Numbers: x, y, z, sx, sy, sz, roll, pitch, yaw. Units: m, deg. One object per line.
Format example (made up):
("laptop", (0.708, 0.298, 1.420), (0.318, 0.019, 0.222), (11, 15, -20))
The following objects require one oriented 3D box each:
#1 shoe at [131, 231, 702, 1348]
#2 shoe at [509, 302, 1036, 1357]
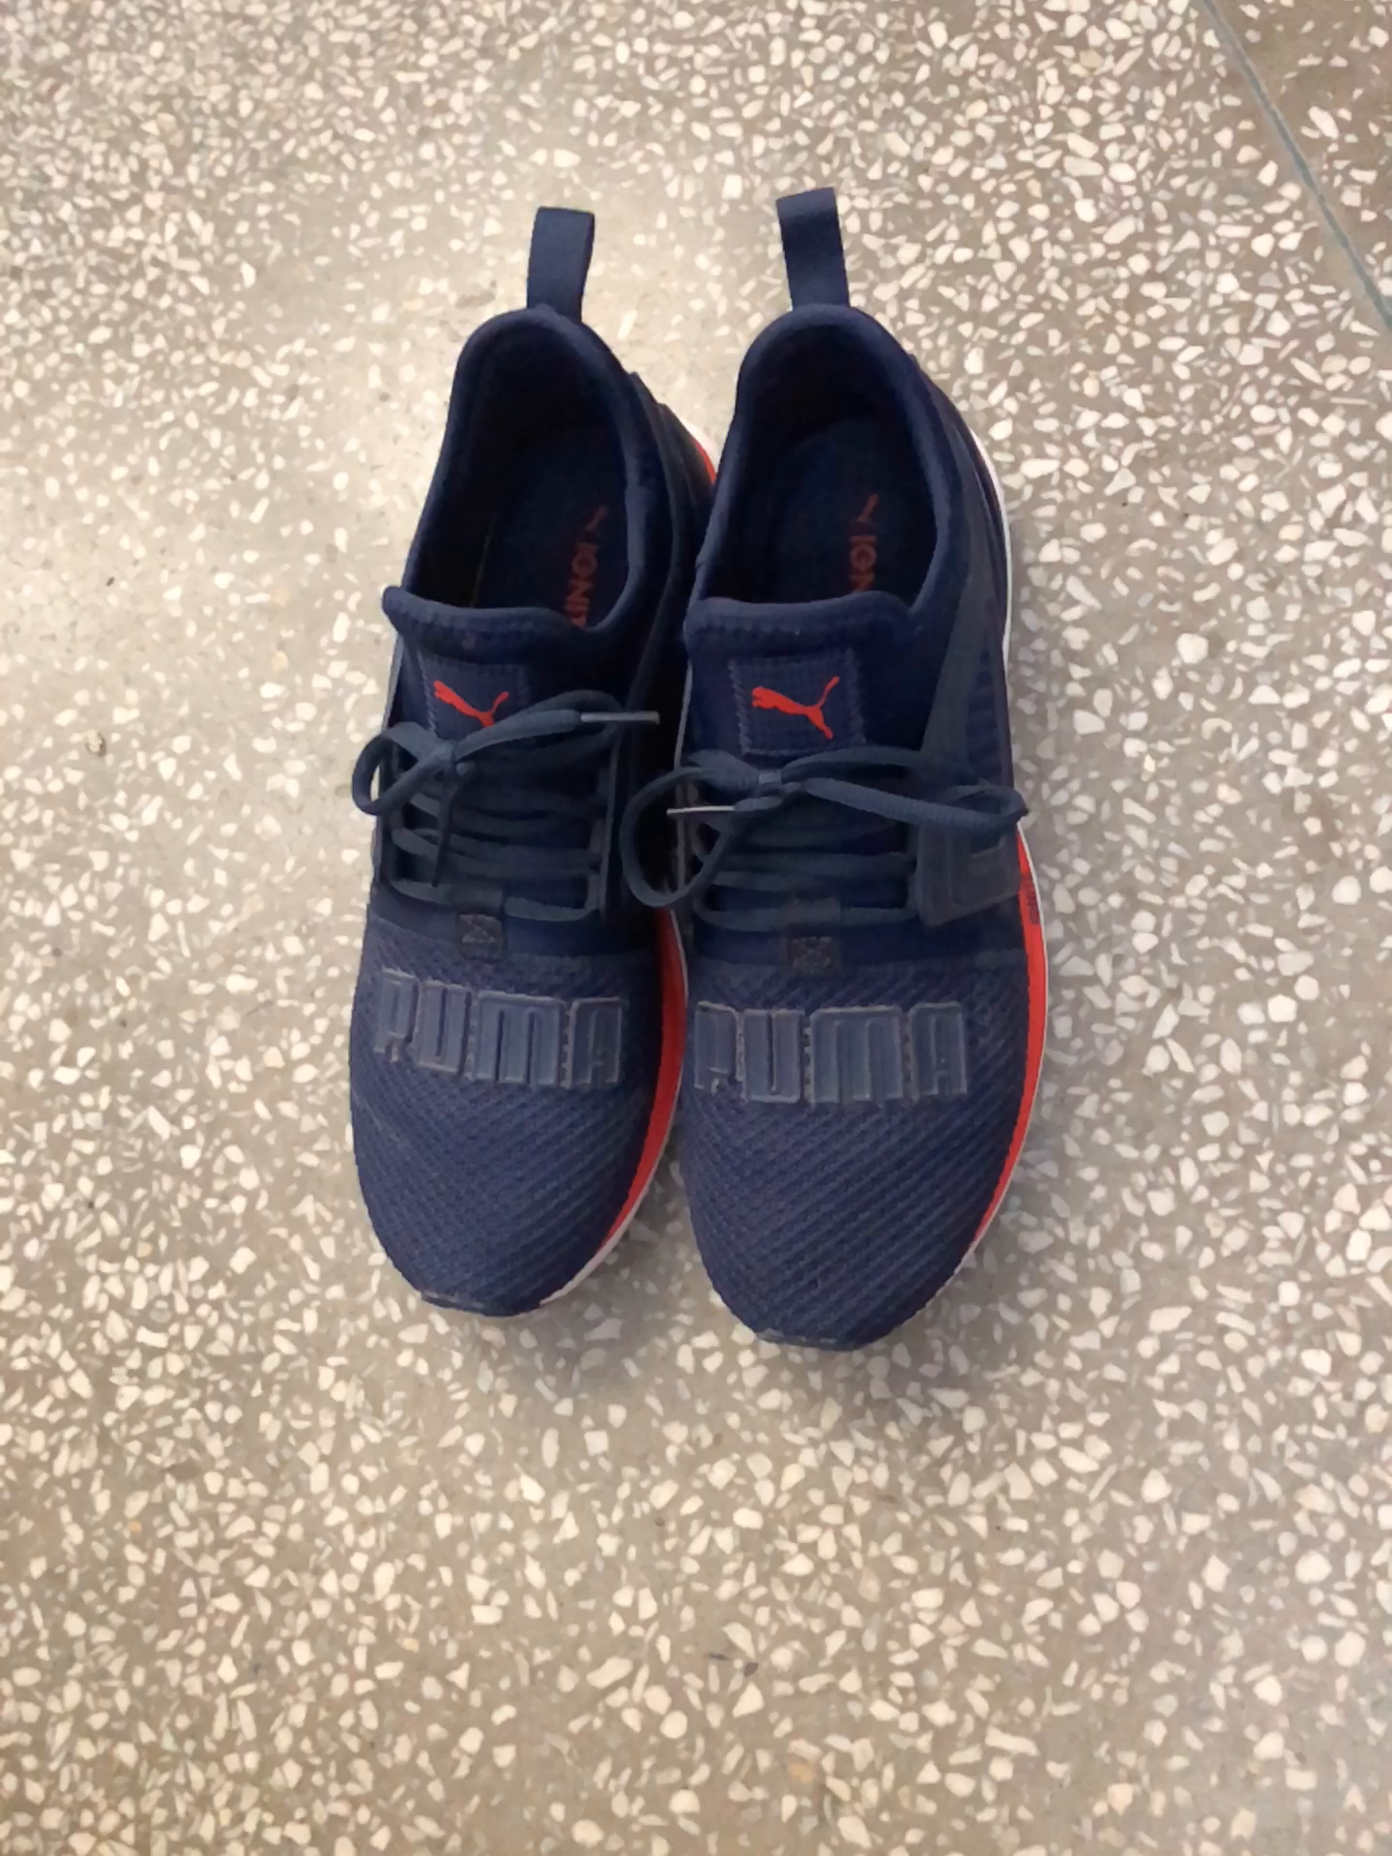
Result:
("shoe", (-0.063, -0.032, 0.416), (0.100, 0.100, 0.270), (0, 78, 12))
("shoe", (0.031, -0.015, 0.396), (0.100, 0.120, 0.230), (-1, 78, 17))
